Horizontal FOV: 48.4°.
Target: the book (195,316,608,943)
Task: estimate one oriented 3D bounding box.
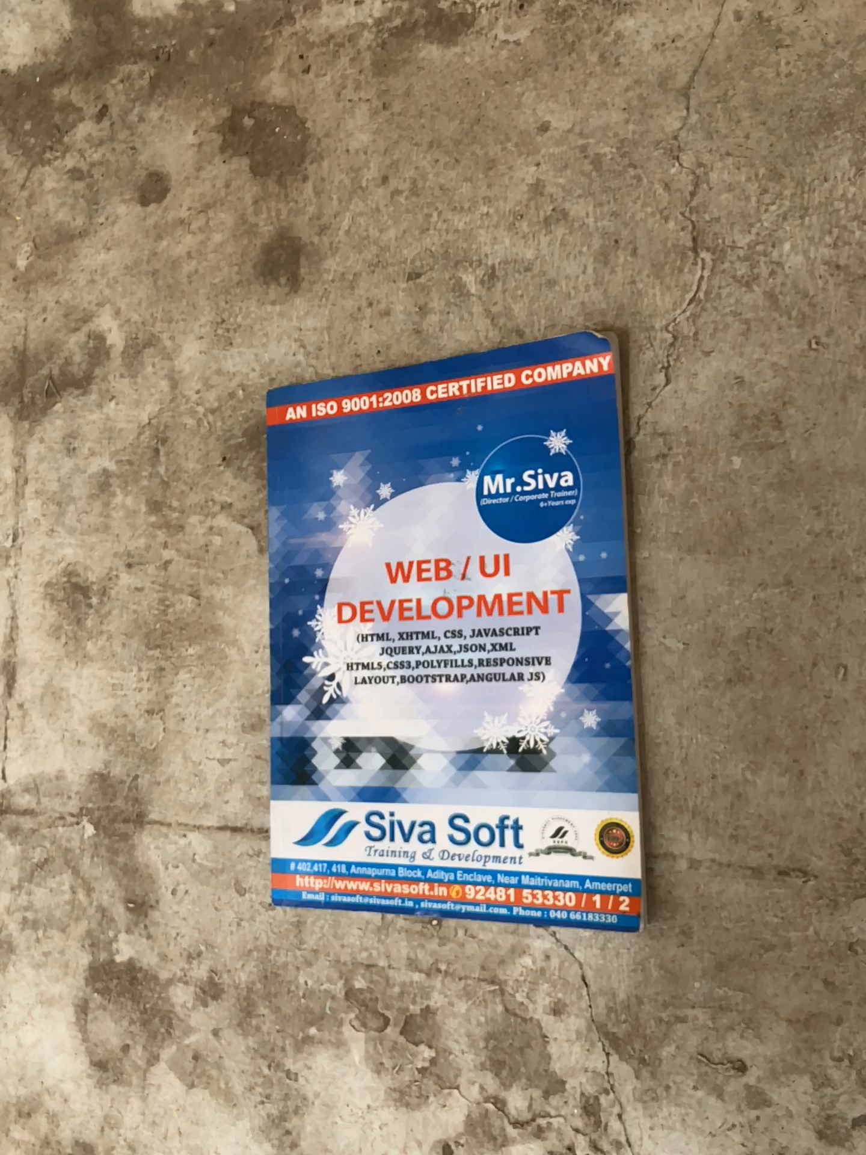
[{"bbox_3d":[-0.025,0.027,0.487,0.210,0.030,0.280,-4,84,24],"label":"book"}]
